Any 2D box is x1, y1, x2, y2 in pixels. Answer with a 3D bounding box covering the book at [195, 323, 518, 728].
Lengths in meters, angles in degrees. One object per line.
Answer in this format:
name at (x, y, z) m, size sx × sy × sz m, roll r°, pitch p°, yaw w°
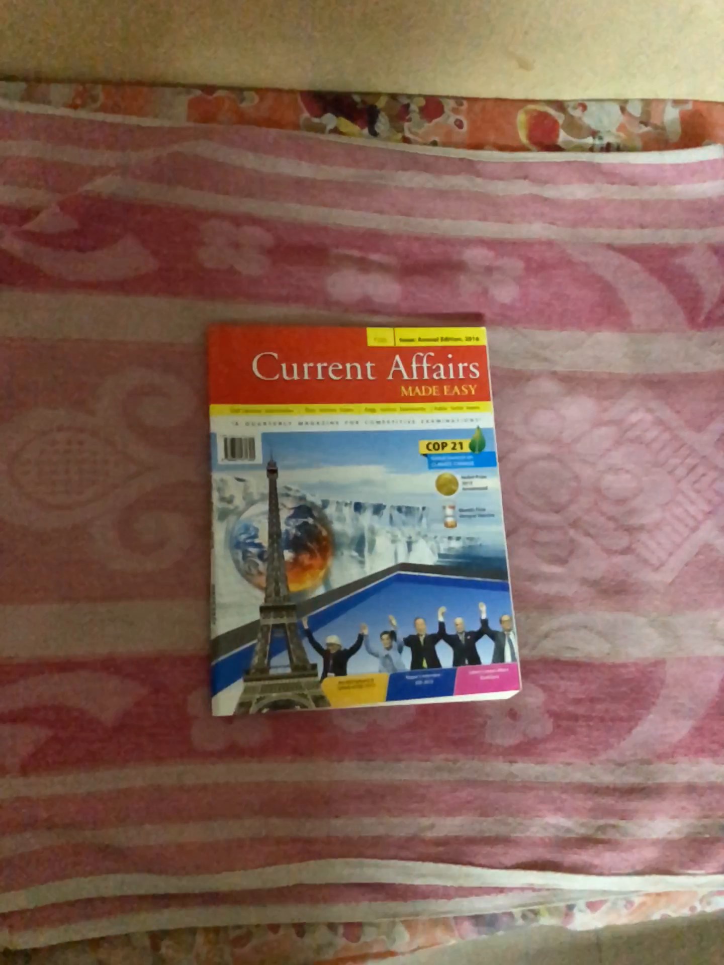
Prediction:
book at (-0.008, 0.021, 0.558) m, size 0.205 × 0.025 × 0.270 m, roll -2°, pitch 78°, yaw -10°
